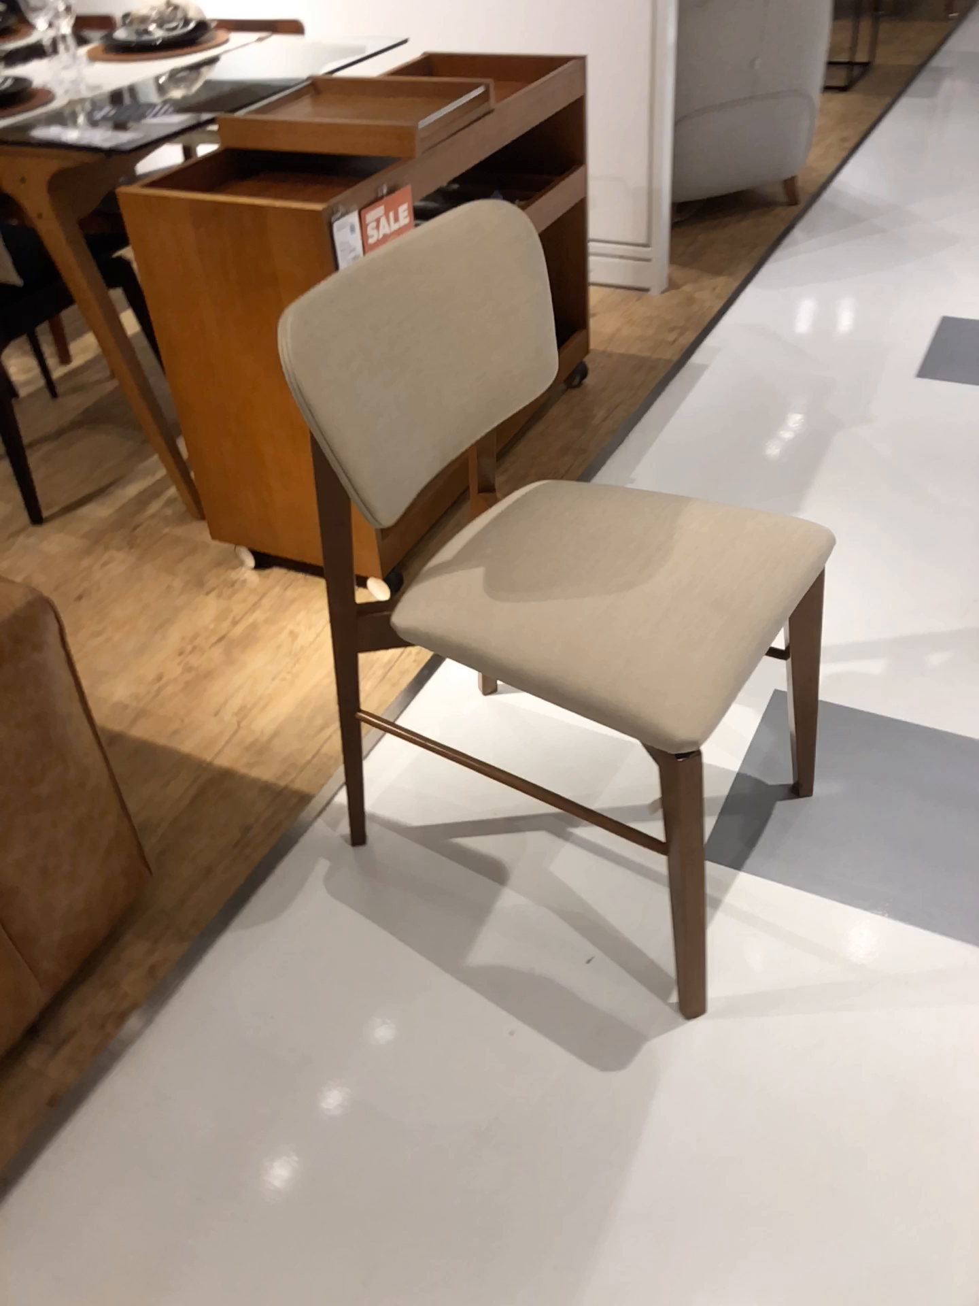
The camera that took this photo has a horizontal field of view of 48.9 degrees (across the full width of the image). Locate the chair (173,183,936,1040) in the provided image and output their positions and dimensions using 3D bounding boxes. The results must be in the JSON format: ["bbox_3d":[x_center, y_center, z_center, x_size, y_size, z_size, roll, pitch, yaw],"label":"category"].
[{"bbox_3d":[0.104,-0.073,1.318,0.591,0.764,0.513,18,45,27],"label":"chair"}]
